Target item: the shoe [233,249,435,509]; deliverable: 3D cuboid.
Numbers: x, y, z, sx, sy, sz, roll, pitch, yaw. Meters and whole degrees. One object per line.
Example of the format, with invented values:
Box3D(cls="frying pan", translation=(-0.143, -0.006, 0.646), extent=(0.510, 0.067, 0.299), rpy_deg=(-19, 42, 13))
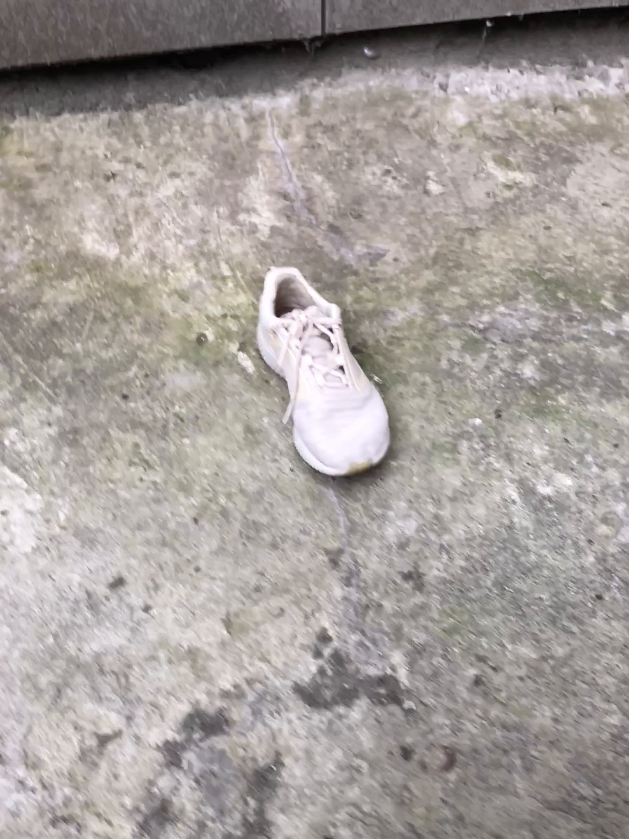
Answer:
Box3D(cls="shoe", translation=(0.010, -0.061, 0.794), extent=(0.120, 0.109, 0.302), rpy_deg=(-15, 47, -14))
